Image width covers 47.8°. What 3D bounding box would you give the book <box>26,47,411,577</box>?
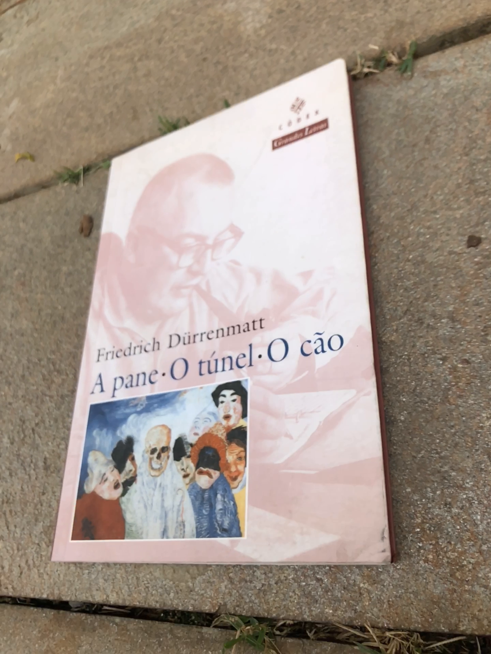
[{"bbox_3d":[-0.017,-0.009,0.225,0.140,0.015,0.200,-12,62,26],"label":"book"}]
